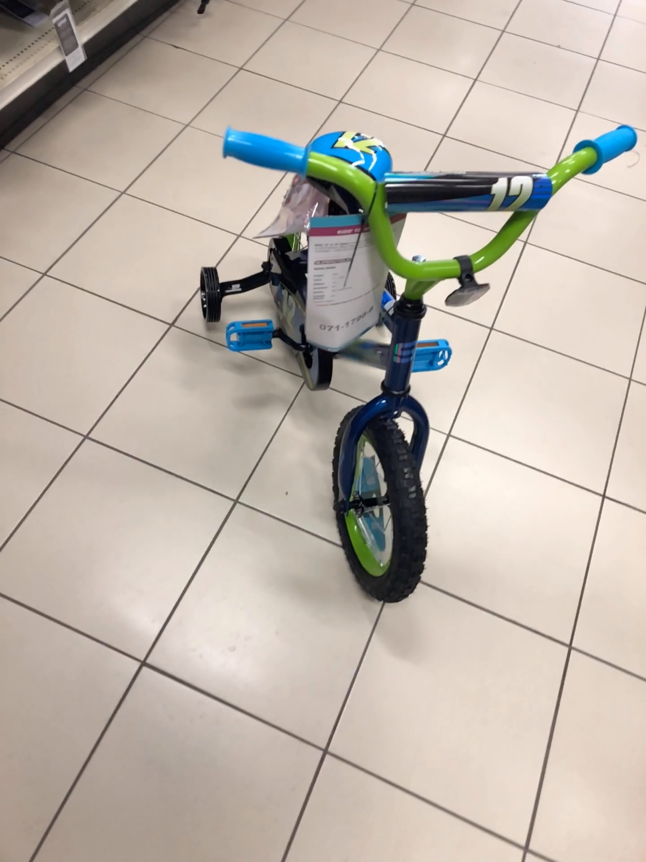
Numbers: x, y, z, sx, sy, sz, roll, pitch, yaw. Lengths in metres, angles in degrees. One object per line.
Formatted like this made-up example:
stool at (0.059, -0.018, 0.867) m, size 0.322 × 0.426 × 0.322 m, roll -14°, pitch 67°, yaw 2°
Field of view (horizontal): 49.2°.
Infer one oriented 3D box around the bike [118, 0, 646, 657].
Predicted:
bike at (0.051, -0.217, 1.050) m, size 0.548 × 0.675 × 0.797 m, roll -8°, pitch 58°, yaw -11°
